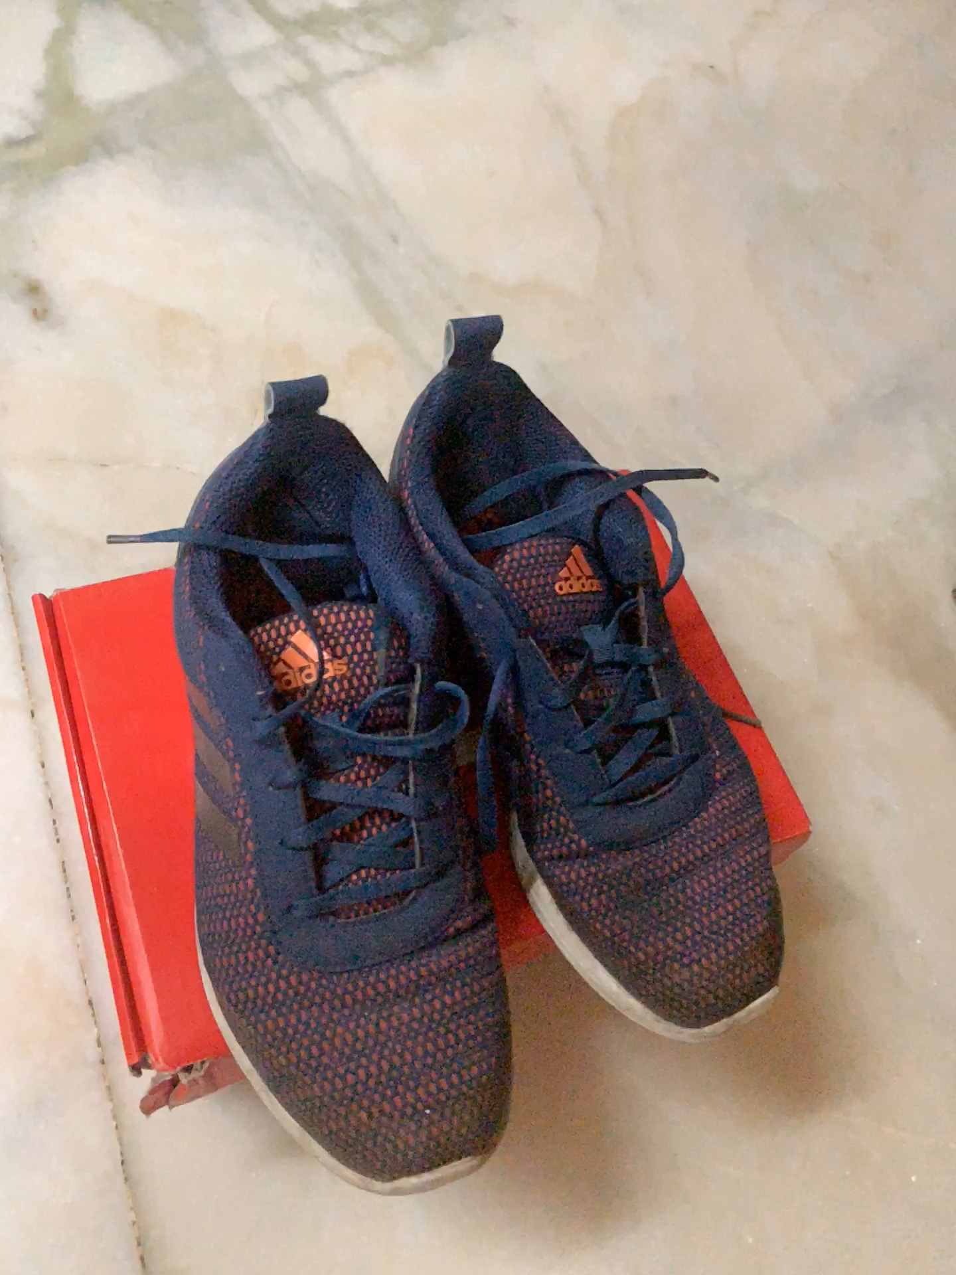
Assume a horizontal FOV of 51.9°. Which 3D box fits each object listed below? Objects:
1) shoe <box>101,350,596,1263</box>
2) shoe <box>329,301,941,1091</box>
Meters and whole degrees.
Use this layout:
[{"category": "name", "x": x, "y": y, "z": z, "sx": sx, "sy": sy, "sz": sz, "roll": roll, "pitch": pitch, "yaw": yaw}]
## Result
[{"category": "shoe", "x": -0.064, "y": 0.046, "z": 0.377, "sx": 0.100, "sy": 0.100, "sz": 0.301, "roll": -11, "pitch": 67, "yaw": -17}, {"category": "shoe", "x": 0.041, "y": 0.012, "z": 0.381, "sx": 0.100, "sy": 0.080, "sz": 0.281, "roll": -18, "pitch": 70, "yaw": -20}]
